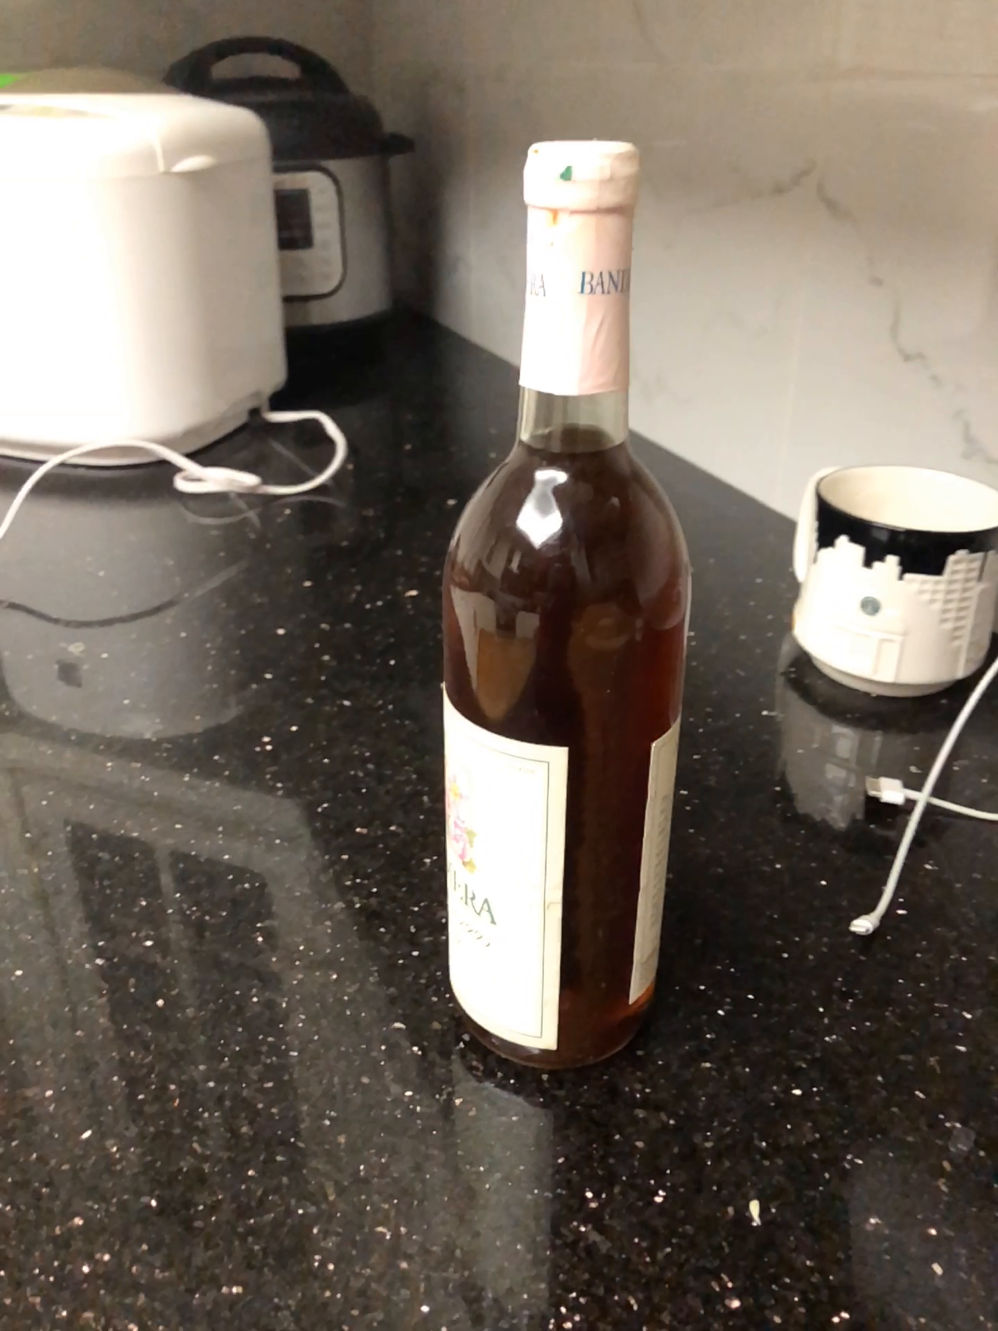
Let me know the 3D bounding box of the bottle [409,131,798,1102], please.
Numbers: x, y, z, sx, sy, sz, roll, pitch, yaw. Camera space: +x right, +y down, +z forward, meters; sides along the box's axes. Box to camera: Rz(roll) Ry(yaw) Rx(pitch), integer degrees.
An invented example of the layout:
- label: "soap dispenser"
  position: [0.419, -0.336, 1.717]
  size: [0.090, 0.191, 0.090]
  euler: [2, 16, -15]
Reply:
- label: "bottle"
  position: [0.019, -0.002, 0.328]
  size: [0.080, 0.278, 0.080]
  euler: [0, 29, 0]
